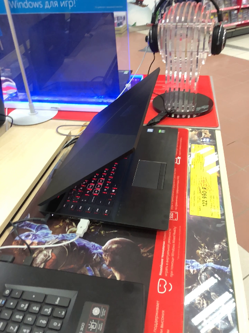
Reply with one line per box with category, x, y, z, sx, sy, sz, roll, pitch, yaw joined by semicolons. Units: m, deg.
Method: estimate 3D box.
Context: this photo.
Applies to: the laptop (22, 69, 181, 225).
laptop;-0.010;-0.083;0.662;0.258;0.166;0.396;6;38;10
